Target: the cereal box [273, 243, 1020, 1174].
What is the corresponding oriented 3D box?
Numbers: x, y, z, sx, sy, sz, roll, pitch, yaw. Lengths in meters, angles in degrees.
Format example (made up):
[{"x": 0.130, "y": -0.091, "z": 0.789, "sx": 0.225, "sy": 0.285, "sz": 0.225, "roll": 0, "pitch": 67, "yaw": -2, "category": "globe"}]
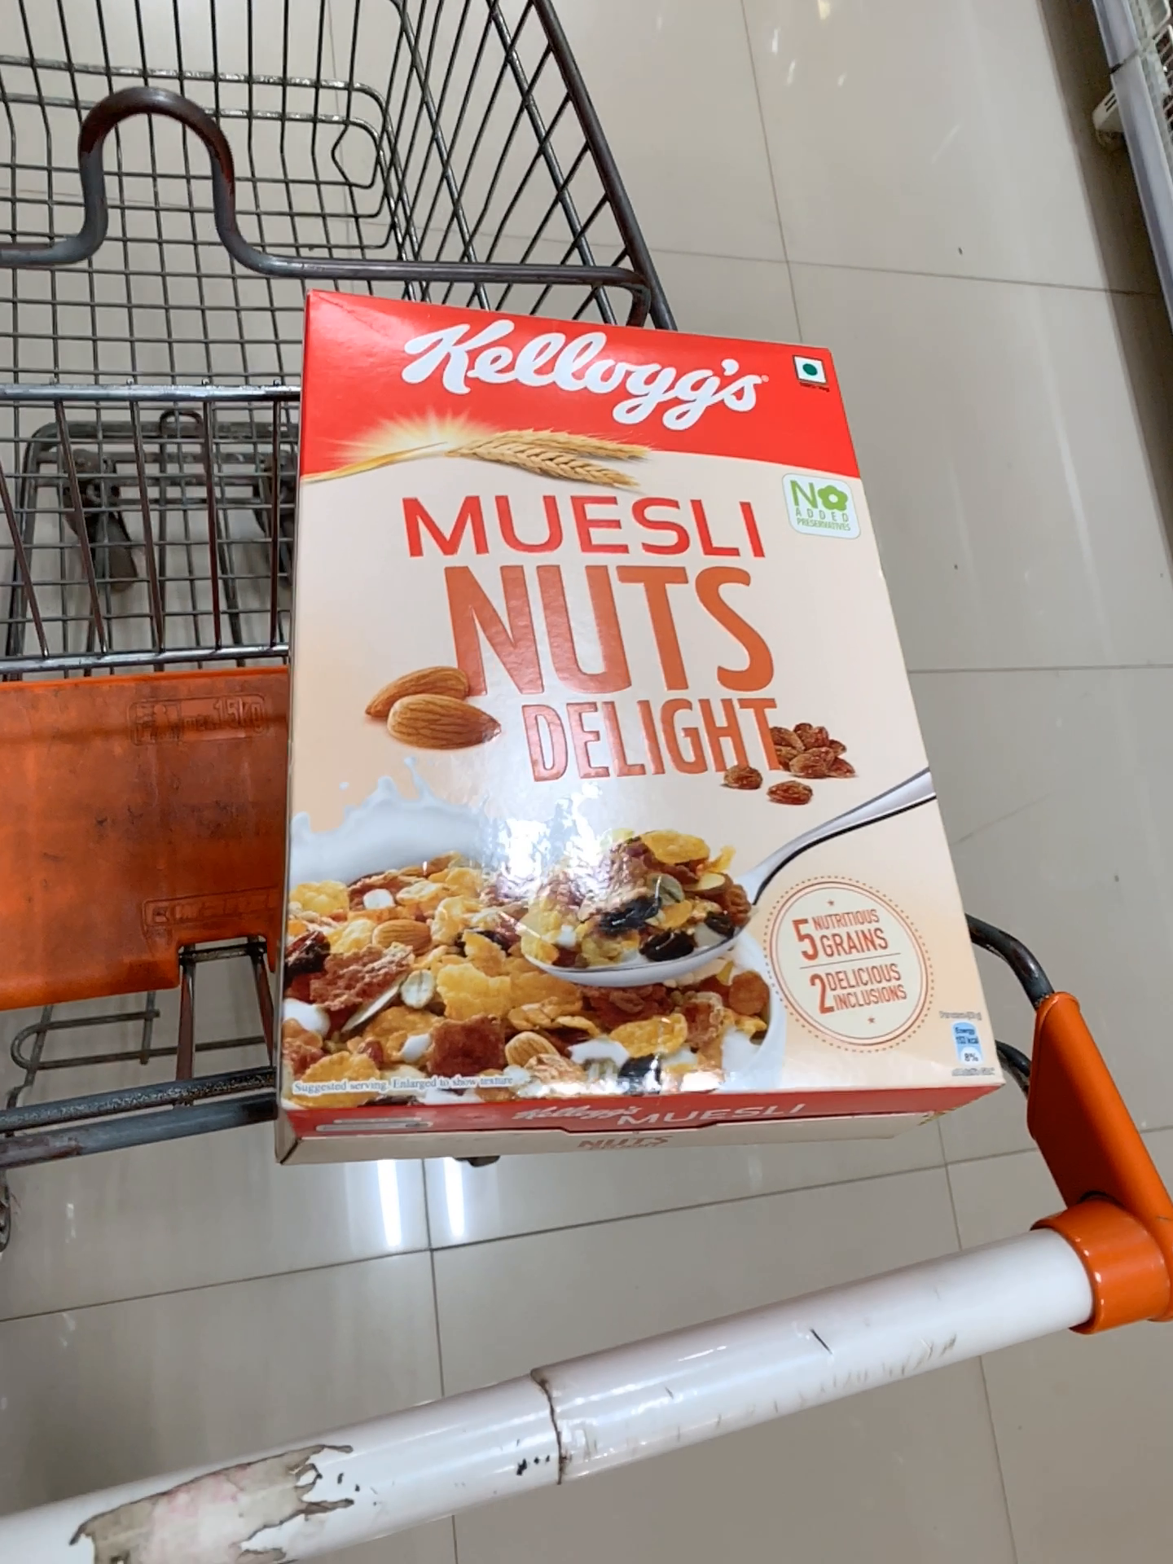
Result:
[{"x": 0.001, "y": -0.028, "z": 0.383, "sx": 0.190, "sy": 0.080, "sz": 0.271, "roll": 1, "pitch": 65, "yaw": -16, "category": "cereal box"}]
